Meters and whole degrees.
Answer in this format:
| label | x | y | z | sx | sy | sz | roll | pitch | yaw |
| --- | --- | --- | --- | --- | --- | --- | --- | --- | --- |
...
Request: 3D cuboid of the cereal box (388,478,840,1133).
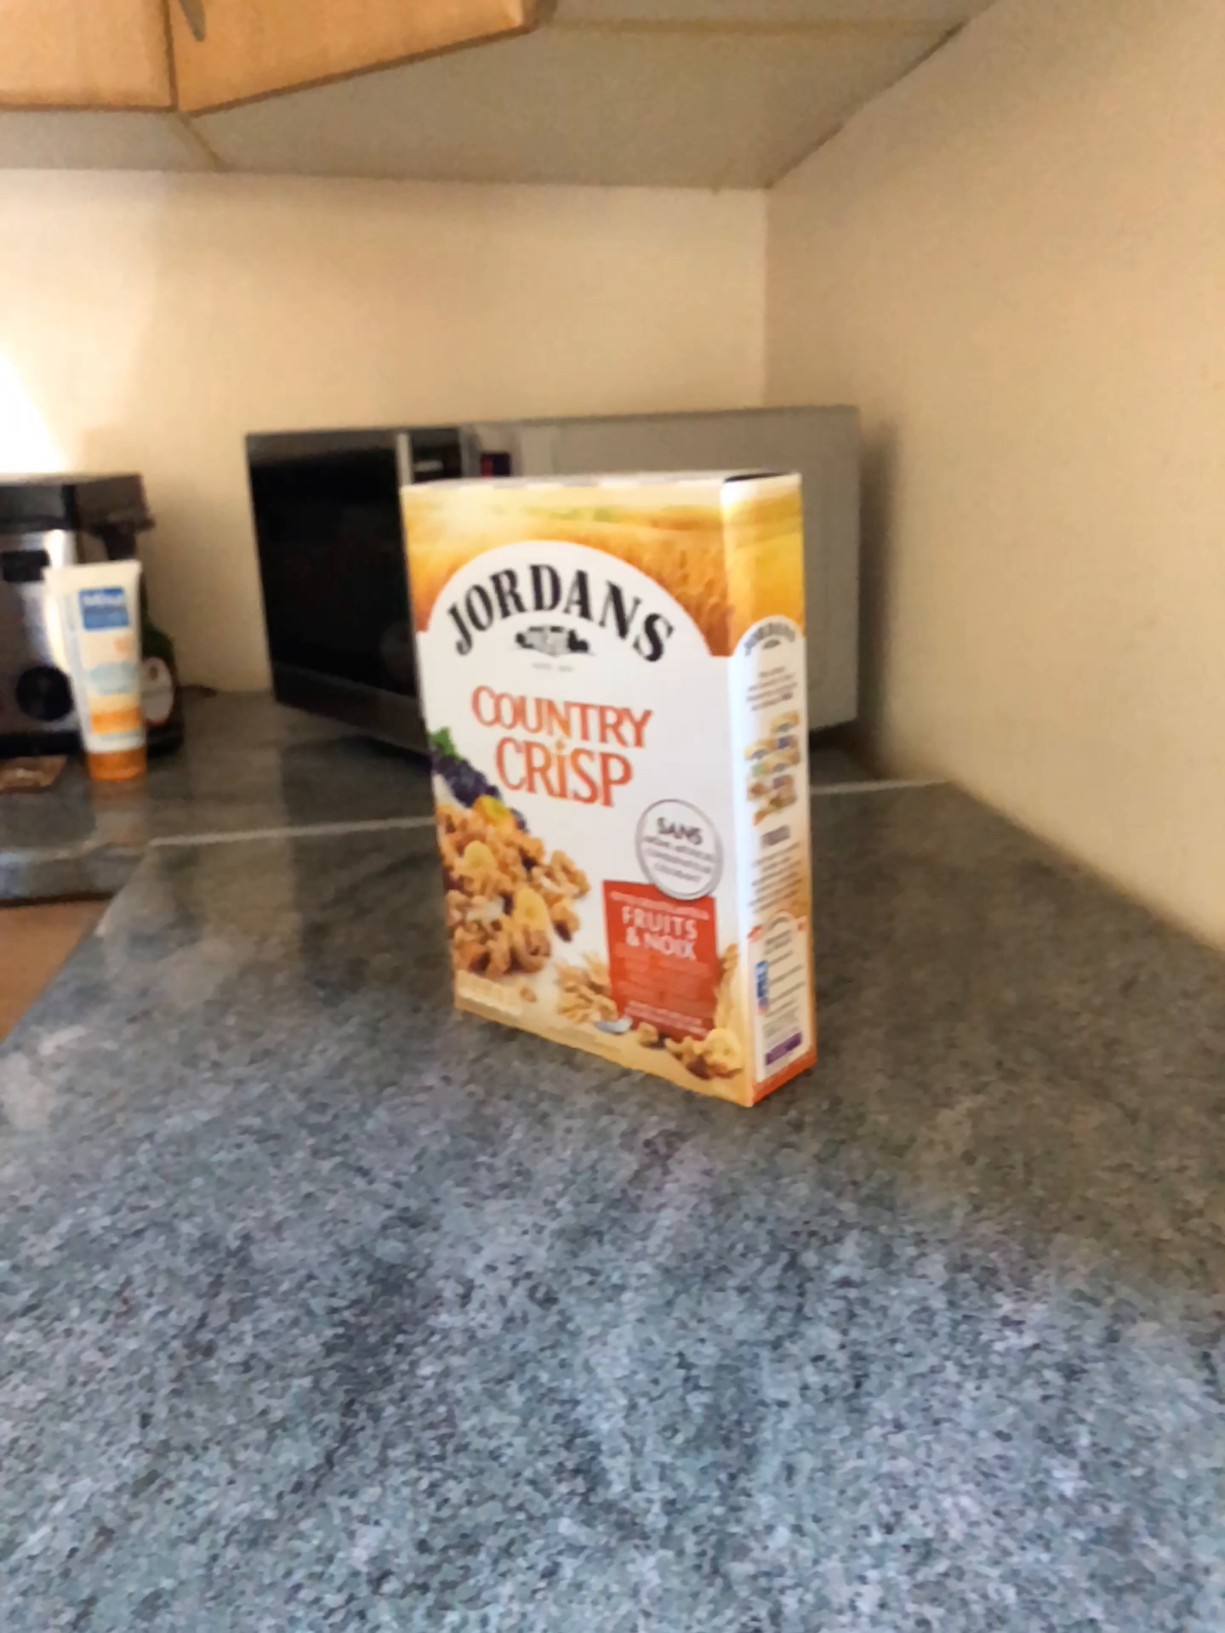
| label | x | y | z | sx | sy | sz | roll | pitch | yaw |
| --- | --- | --- | --- | --- | --- | --- | --- | --- | --- |
| cereal box | 0.000 | -0.016 | 0.586 | 0.190 | 0.249 | 0.060 | 11 | 21 | 39 |
